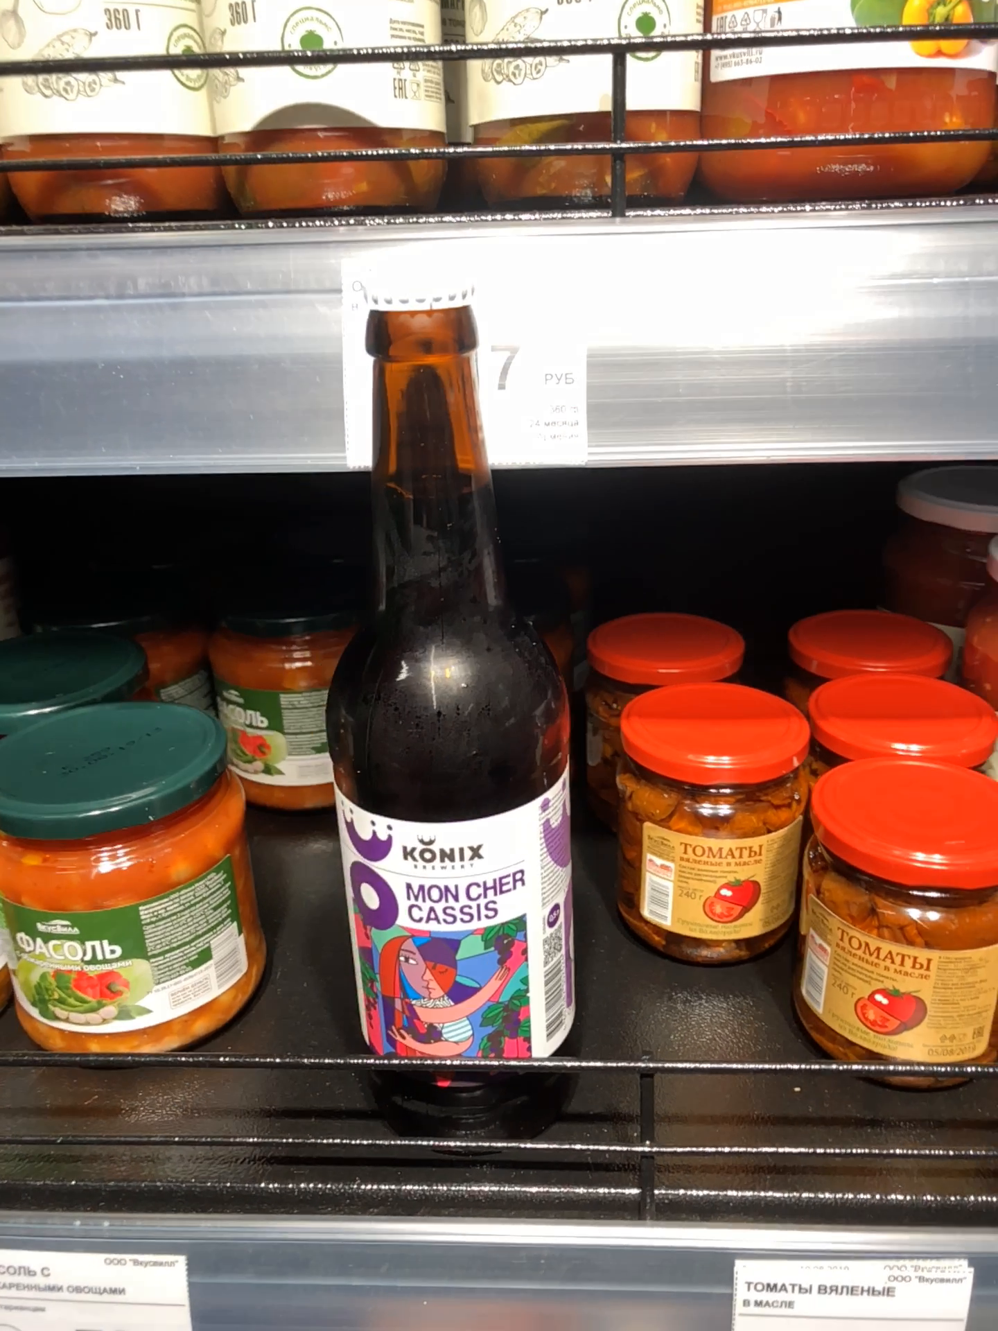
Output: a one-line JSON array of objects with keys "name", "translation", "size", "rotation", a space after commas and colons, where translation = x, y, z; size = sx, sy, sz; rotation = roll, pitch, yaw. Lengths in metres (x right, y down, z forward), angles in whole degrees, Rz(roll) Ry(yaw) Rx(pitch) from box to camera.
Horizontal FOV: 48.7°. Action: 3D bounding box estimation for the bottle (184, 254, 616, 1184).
[{"name": "bottle", "translation": [-0.014, 0.017, 0.305], "size": [0.080, 0.239, 0.080], "rotation": [-2, 24, 1]}]
